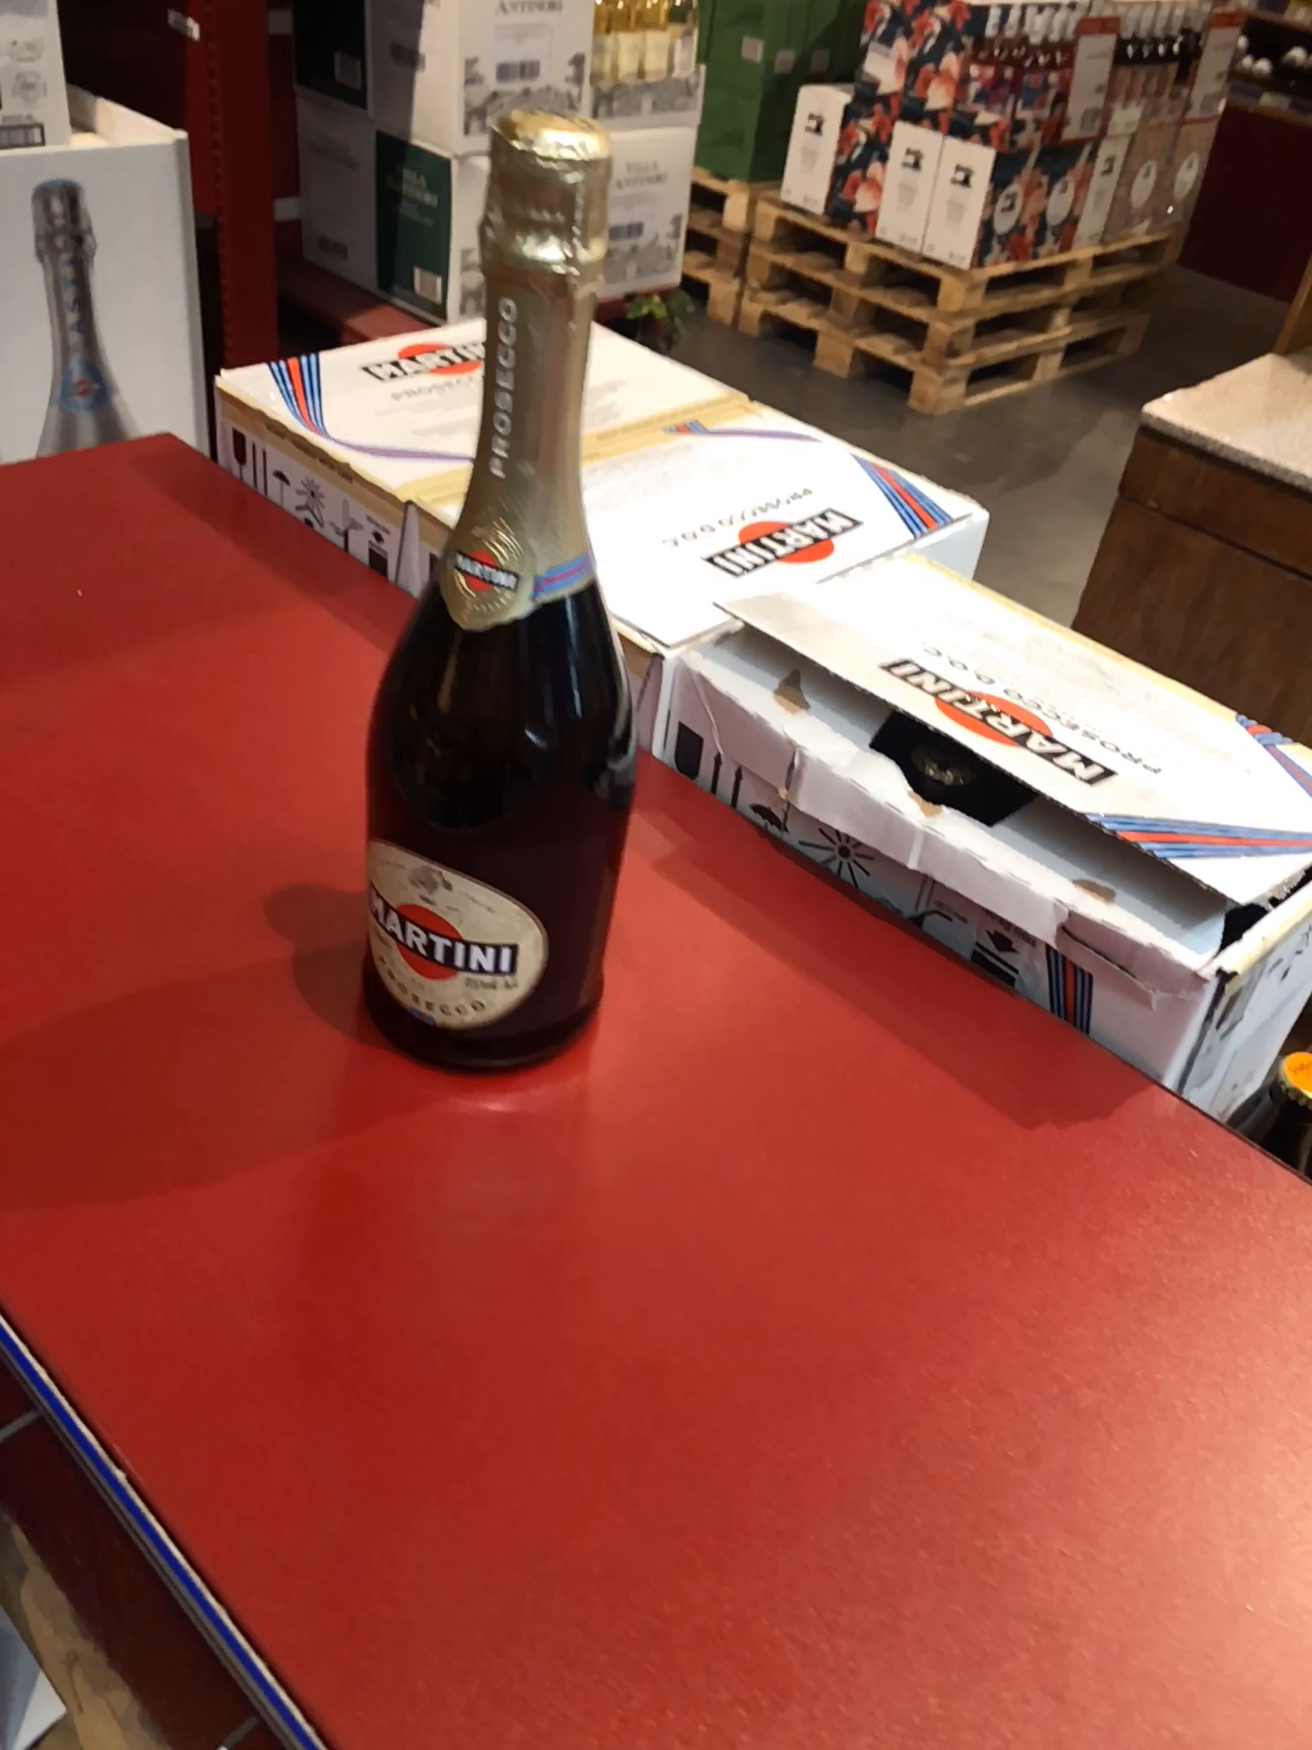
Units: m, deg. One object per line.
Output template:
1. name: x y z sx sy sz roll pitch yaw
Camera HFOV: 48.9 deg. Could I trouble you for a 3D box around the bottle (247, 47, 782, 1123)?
1. bottle: -0.051 -0.074 0.451 0.100 0.302 0.090 25 41 19
